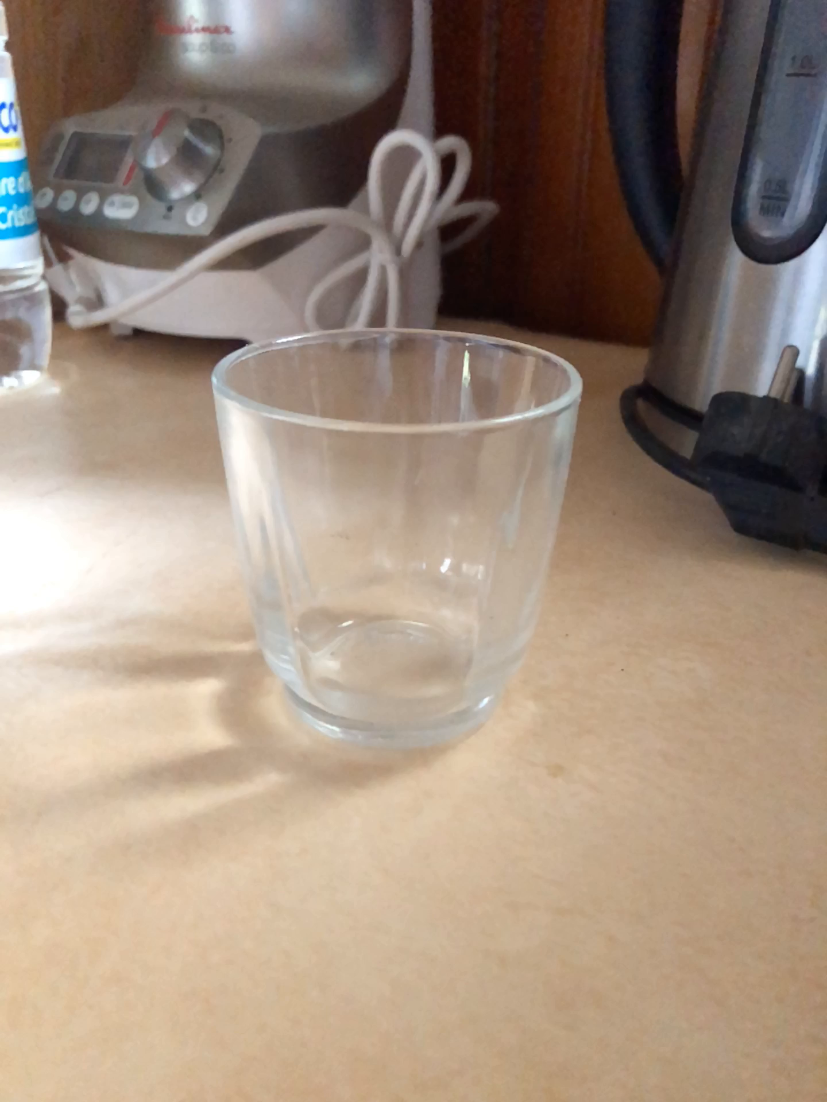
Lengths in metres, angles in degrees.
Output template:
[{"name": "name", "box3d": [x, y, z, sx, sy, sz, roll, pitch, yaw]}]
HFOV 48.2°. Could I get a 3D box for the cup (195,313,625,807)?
[{"name": "cup", "box3d": [-0.004, -0.003, 0.198, 0.070, 0.080, 0.070, 1, 26, 0]}]
